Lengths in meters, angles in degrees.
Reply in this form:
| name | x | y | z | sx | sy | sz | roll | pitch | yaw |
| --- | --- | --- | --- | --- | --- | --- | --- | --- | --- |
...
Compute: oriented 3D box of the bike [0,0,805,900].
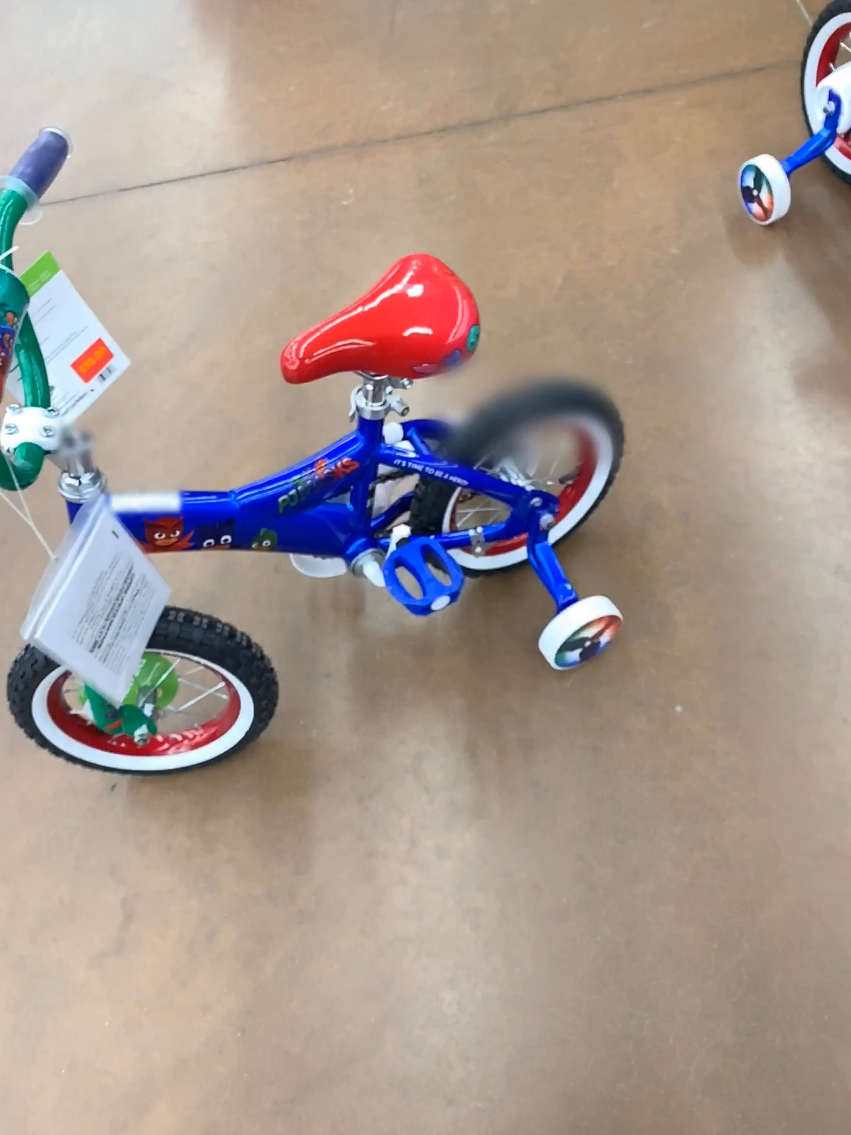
| name | x | y | z | sx | sy | sz | roll | pitch | yaw |
| --- | --- | --- | --- | --- | --- | --- | --- | --- | --- |
| bike | -0.158 | -0.120 | 0.913 | 0.775 | 0.670 | 0.461 | -27 | 57 | -7 |
